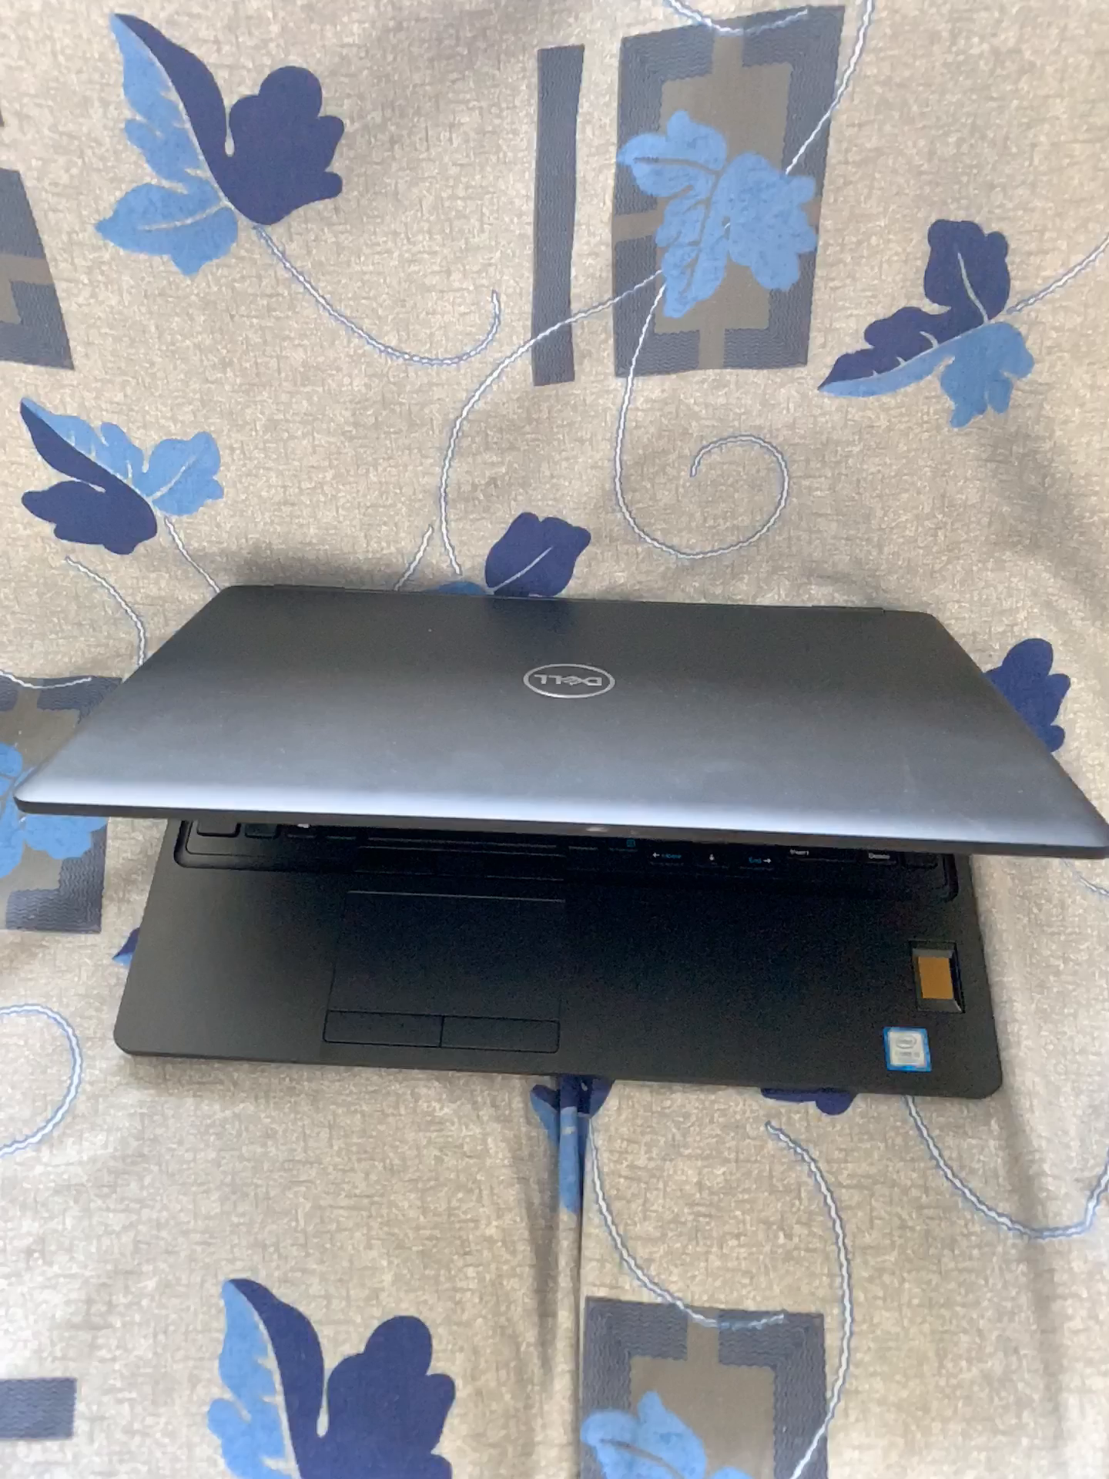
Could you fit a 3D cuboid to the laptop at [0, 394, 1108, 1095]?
[{"bbox_3d":[0.004,0.000,0.467,0.371,0.142,0.239,2,60,2],"label":"laptop"}]
